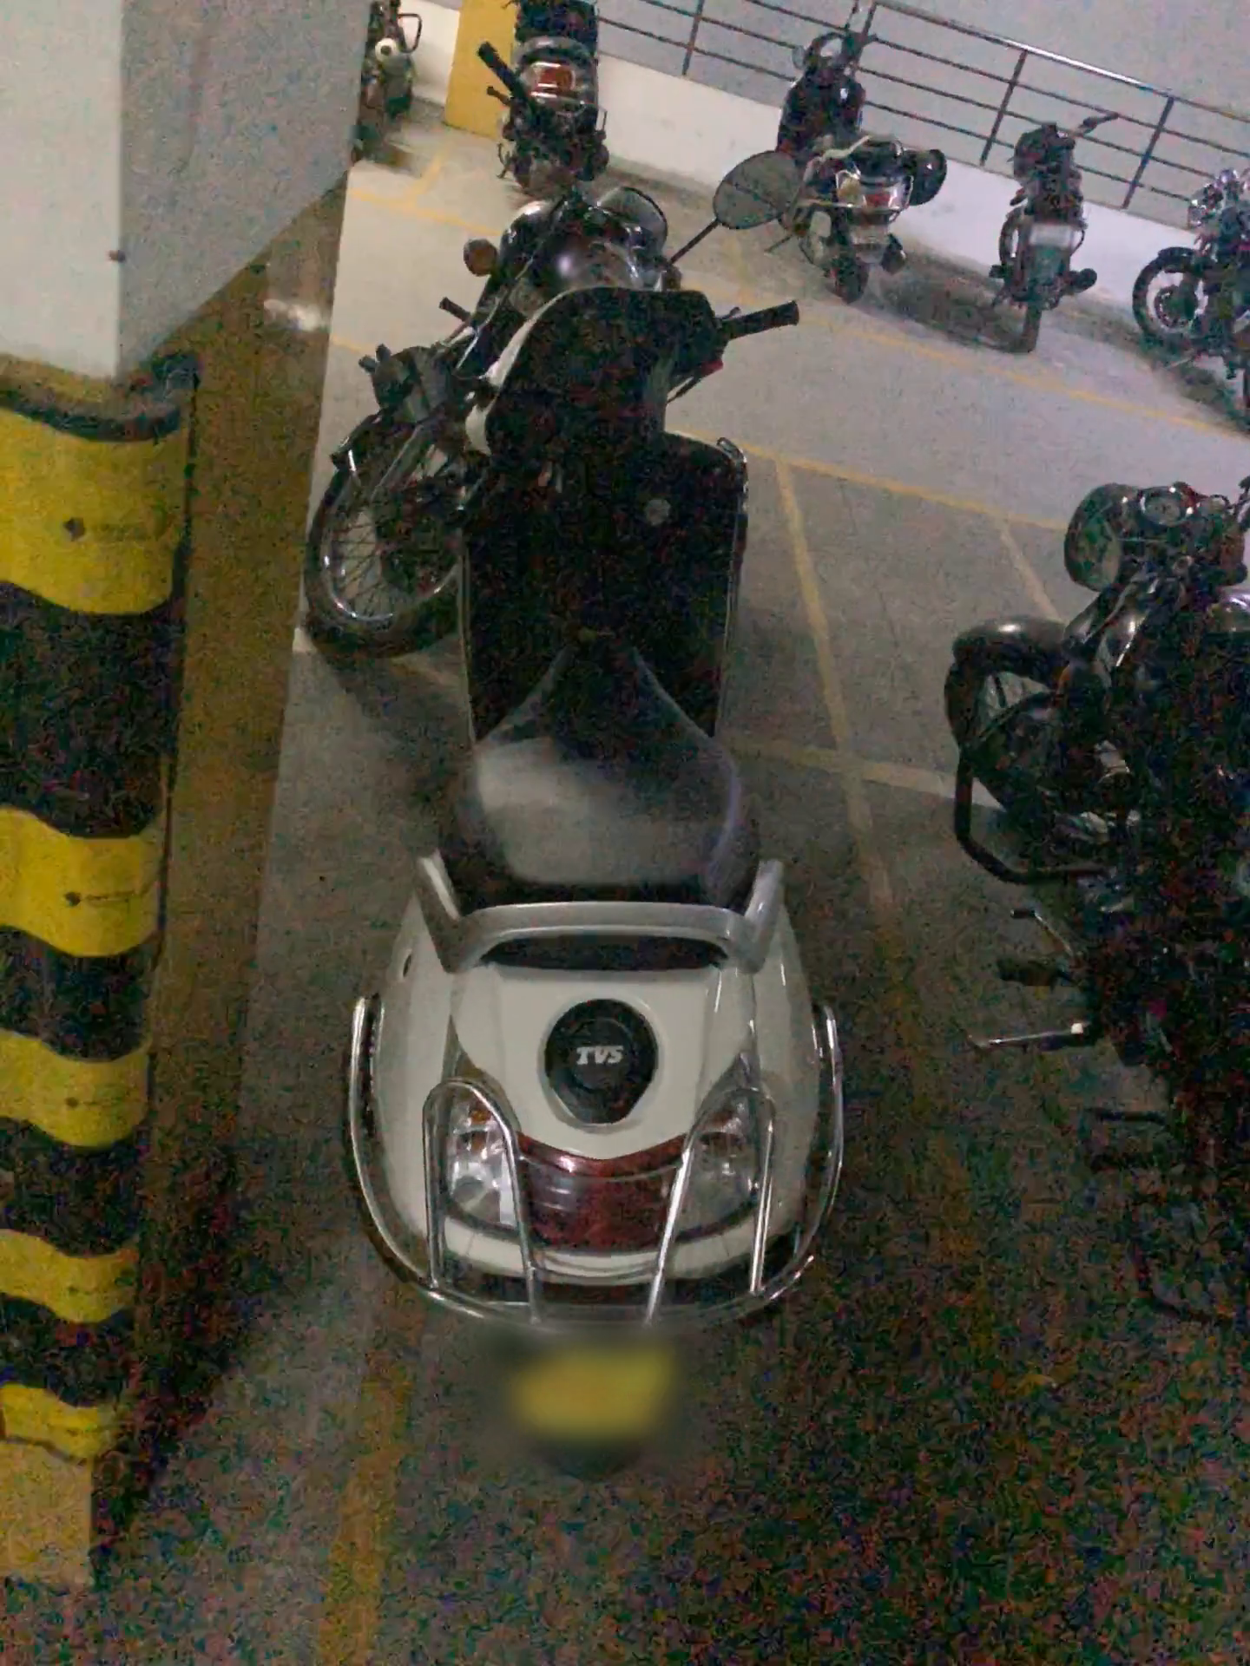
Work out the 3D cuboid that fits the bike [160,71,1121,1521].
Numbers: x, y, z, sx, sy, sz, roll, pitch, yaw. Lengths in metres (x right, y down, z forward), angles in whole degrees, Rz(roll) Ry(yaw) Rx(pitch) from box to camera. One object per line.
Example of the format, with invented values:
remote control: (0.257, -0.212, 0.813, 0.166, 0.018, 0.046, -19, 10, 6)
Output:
bike: (-0.100, -0.161, 1.800, 0.647, 1.159, 1.539, 11, 39, -10)
